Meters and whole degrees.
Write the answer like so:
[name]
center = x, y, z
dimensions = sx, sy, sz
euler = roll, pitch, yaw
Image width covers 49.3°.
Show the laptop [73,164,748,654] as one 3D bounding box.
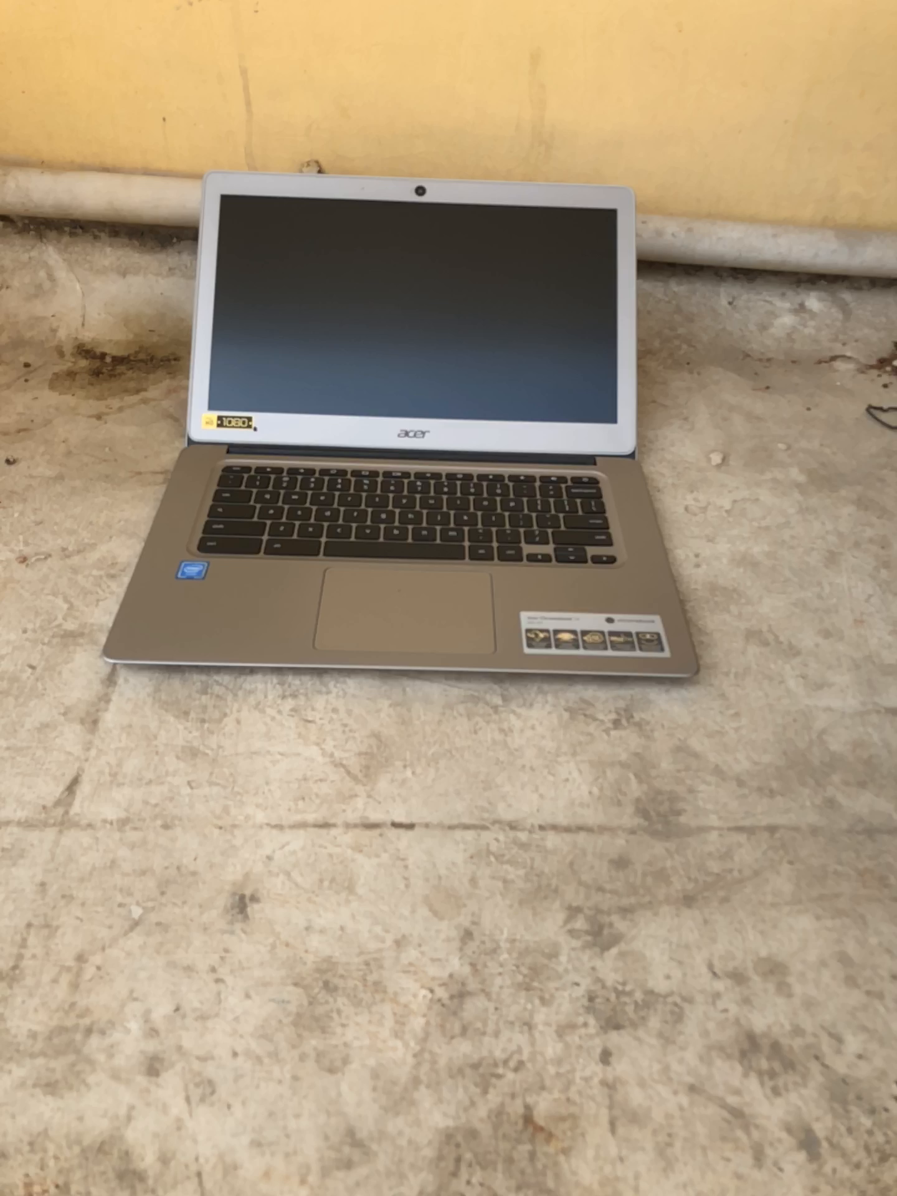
[laptop]
center = -0.020, -0.149, 0.644
dimensions = 0.315, 0.136, 0.381
euler = 2, 40, -1
